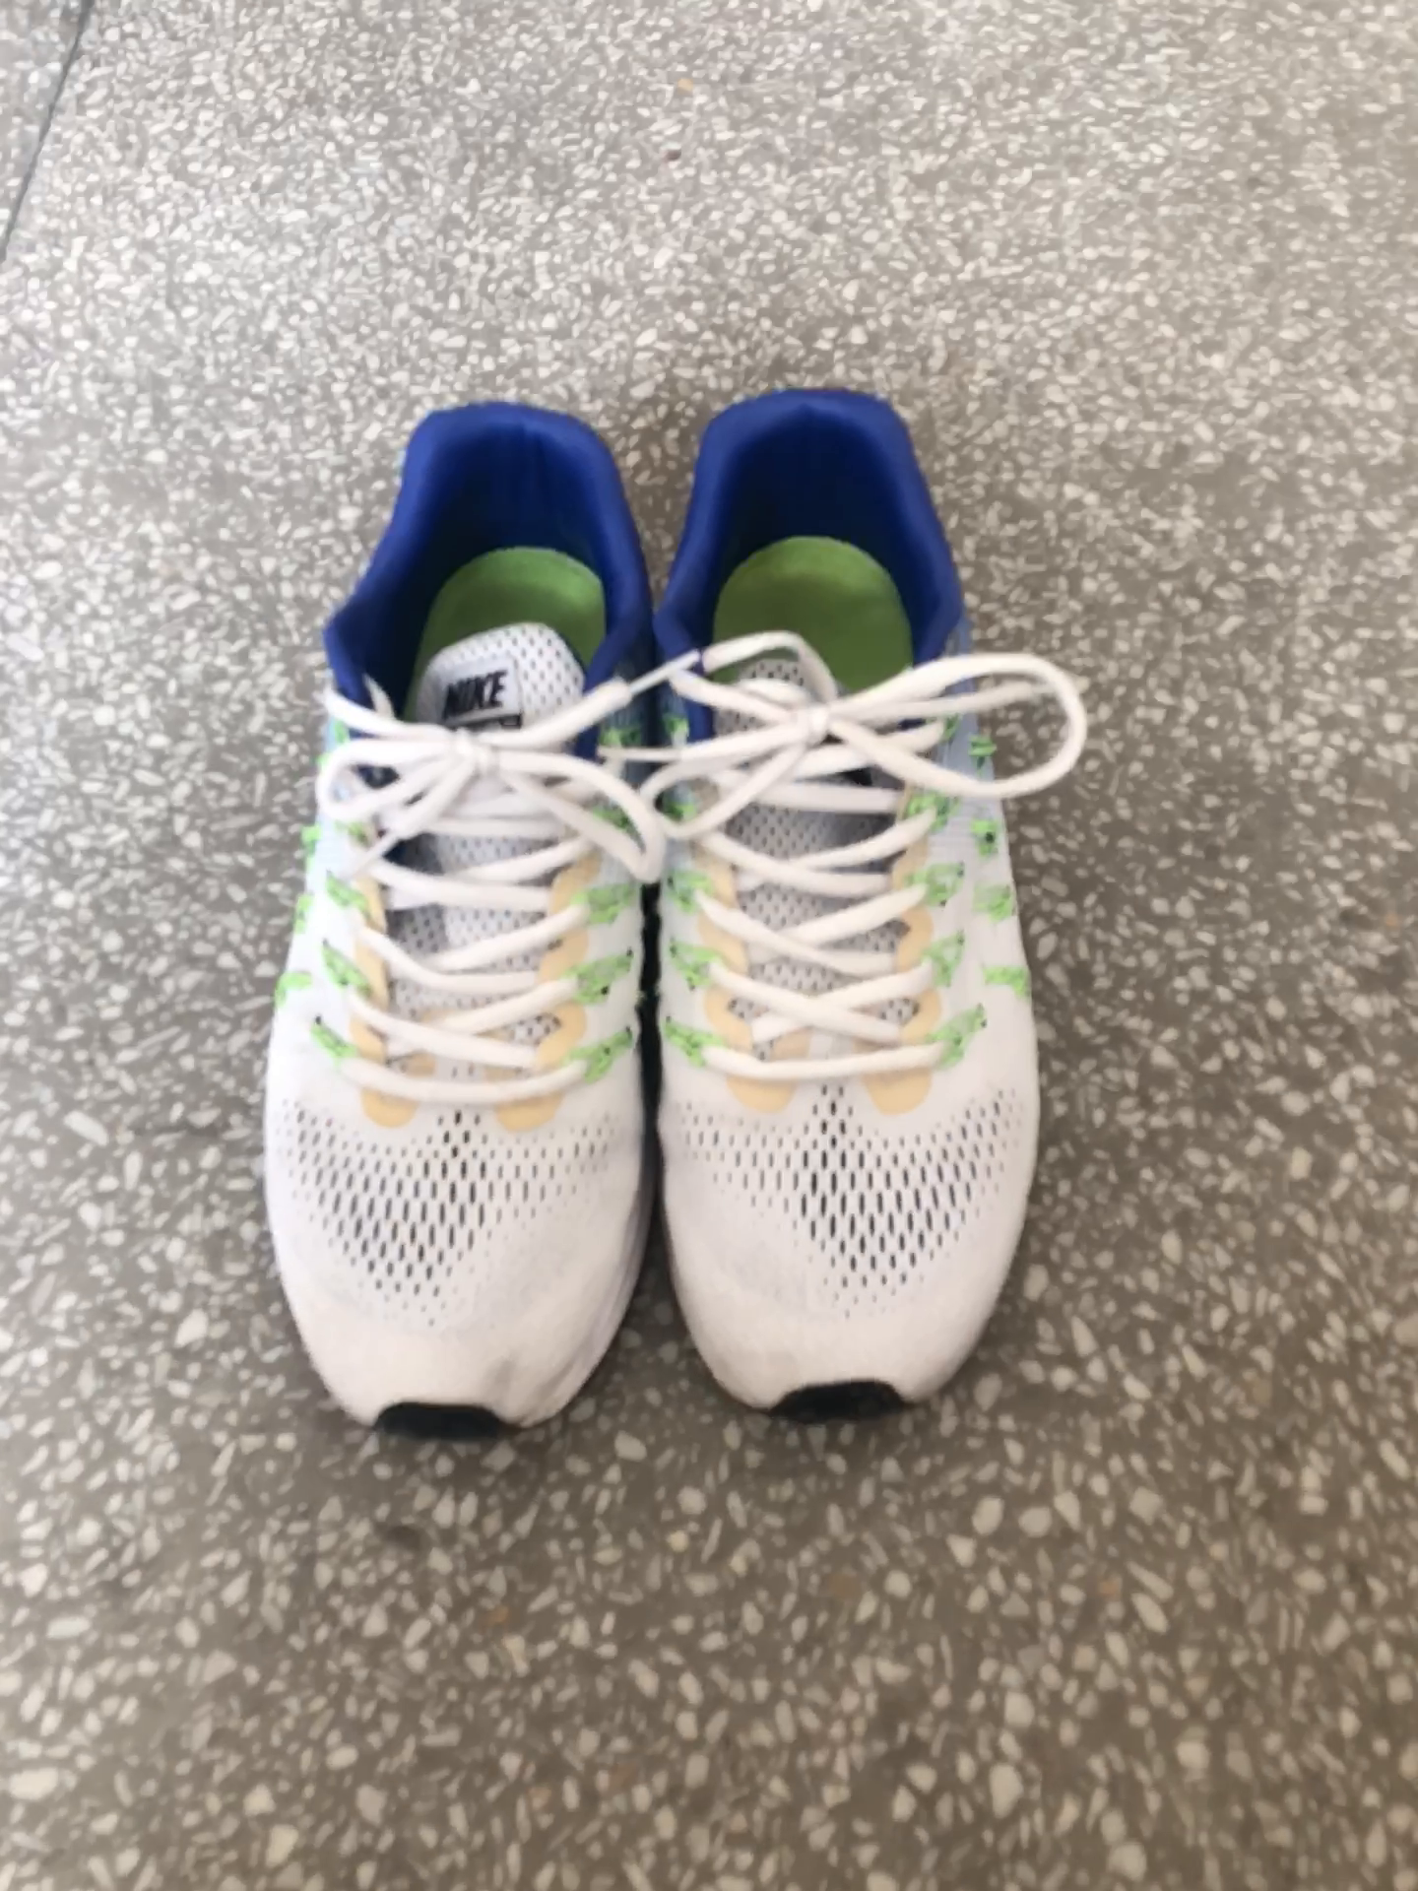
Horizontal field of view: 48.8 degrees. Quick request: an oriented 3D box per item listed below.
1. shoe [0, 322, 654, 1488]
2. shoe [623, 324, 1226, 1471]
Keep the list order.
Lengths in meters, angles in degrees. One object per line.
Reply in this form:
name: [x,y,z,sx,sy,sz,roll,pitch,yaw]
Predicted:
shoe: [-0.075,-0.018,0.403,0.113,0.114,0.282,0,61,0]
shoe: [0.037,-0.019,0.405,0.111,0.114,0.275,-1,61,-1]
